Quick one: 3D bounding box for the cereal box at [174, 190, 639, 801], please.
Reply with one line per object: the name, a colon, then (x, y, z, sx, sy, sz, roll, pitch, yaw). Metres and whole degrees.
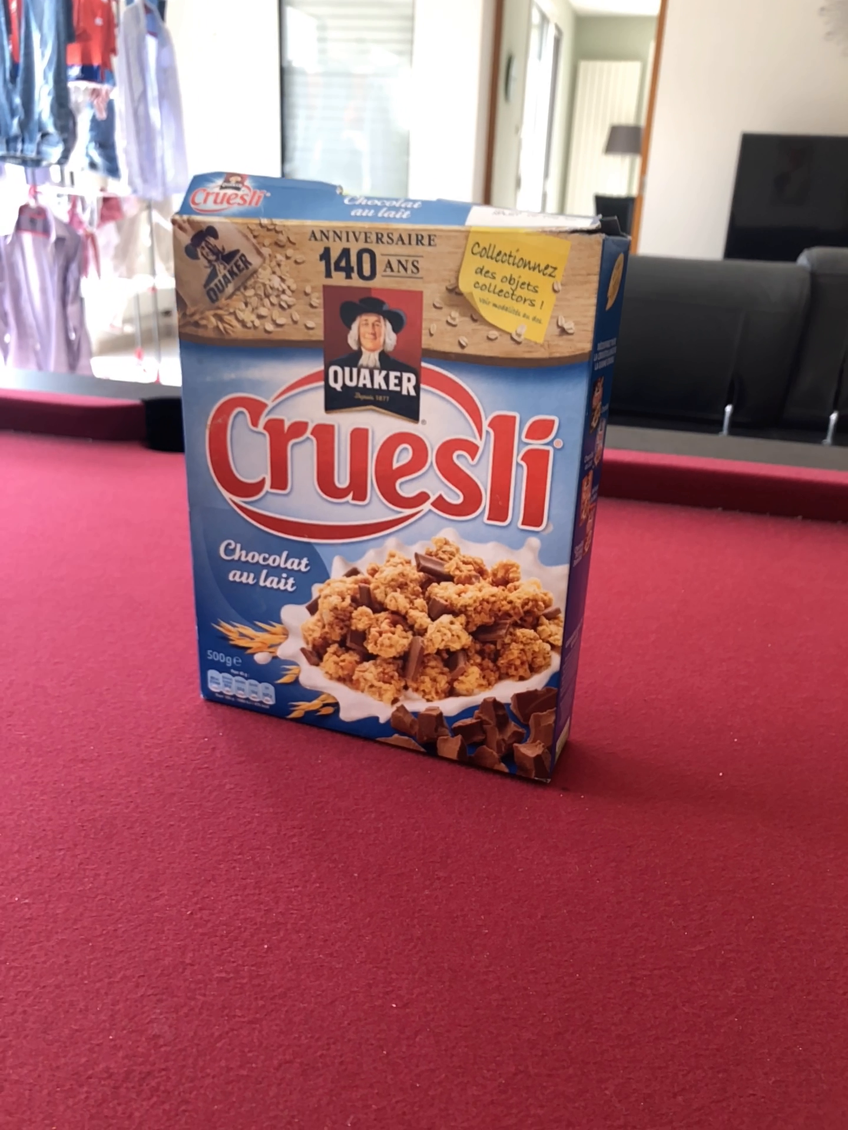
cereal box: (-0.014, -0.033, 0.442, 0.190, 0.259, 0.050, 9, 22, 16)
